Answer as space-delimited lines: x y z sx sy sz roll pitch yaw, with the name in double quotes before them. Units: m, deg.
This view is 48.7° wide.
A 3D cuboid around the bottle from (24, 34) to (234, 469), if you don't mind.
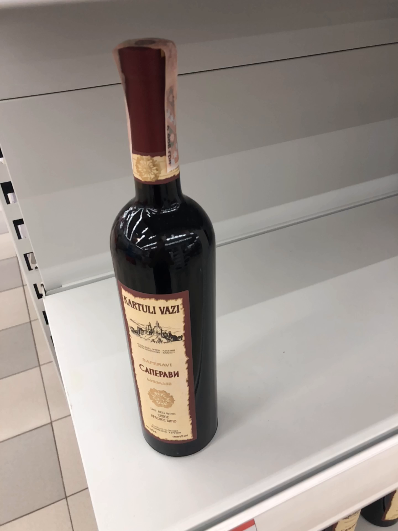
"bottle" -0.025 0.016 0.298 0.079 0.299 0.069 8 37 14
